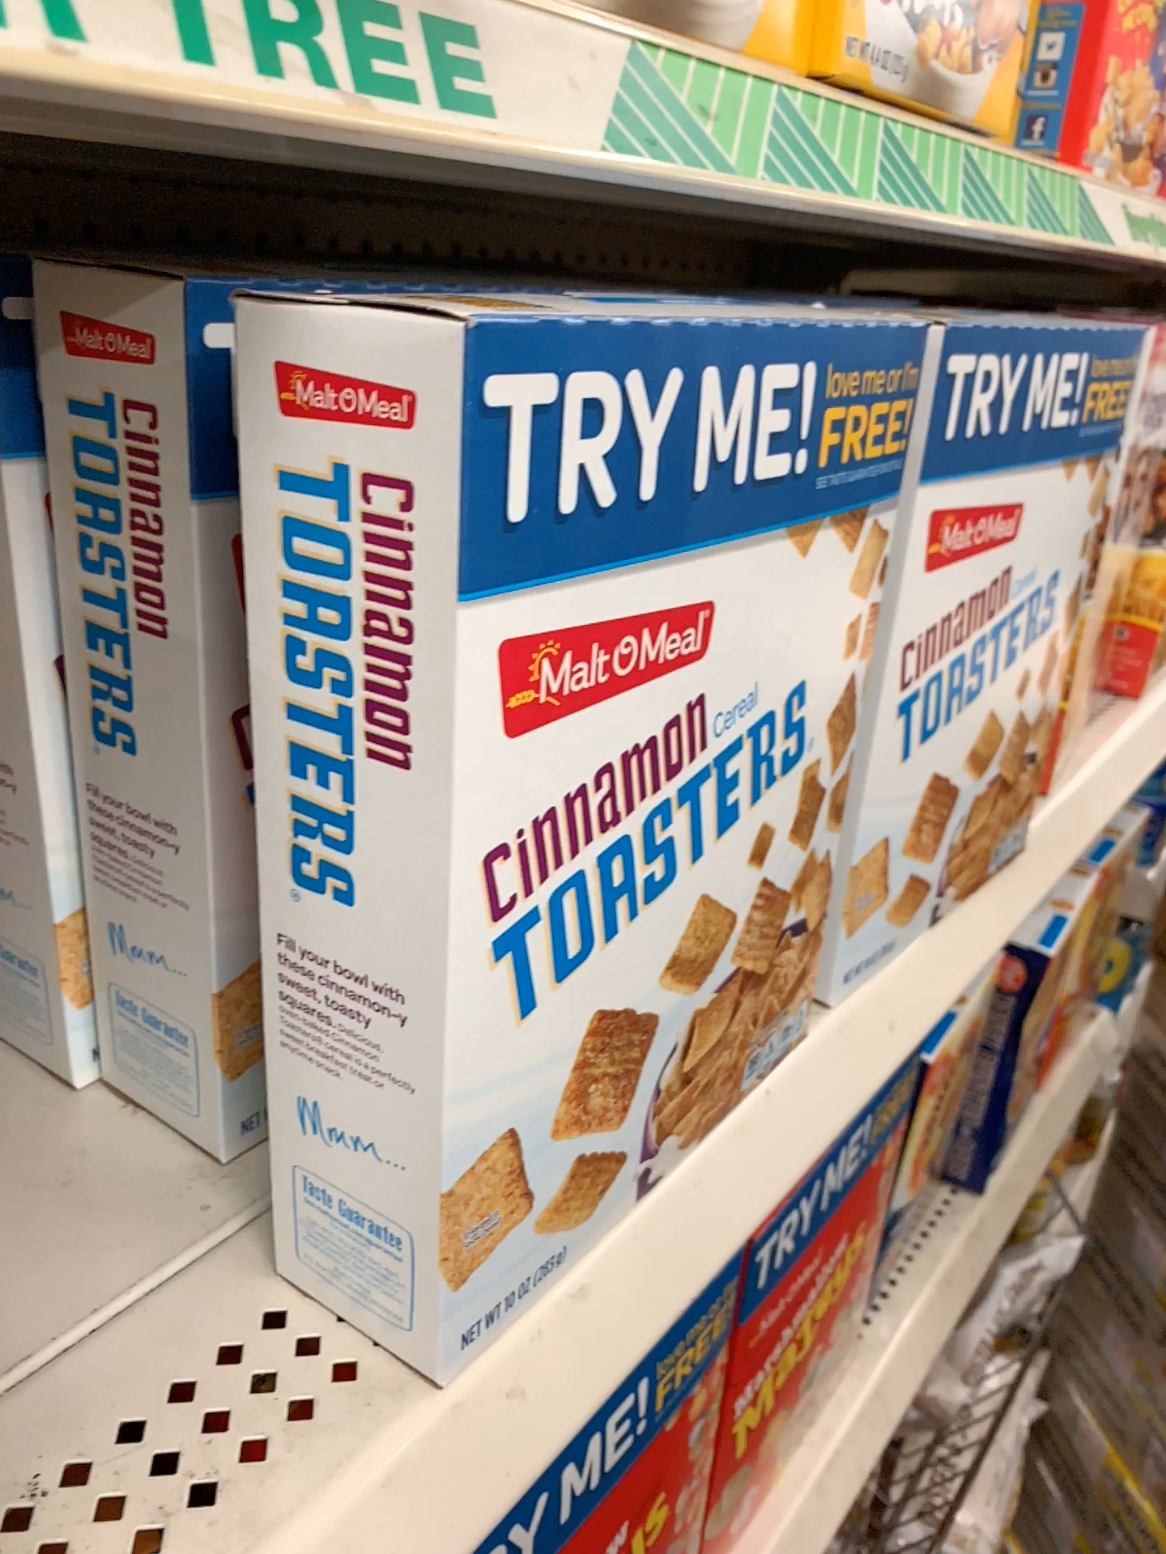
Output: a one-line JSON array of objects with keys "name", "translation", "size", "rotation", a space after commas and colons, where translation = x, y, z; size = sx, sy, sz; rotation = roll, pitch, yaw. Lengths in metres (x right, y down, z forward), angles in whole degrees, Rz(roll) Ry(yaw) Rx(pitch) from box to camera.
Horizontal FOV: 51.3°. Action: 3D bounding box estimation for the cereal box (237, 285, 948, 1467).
[{"name": "cereal box", "translation": [0.008, 0.007, 0.274], "size": [0.050, 0.209, 0.171], "rotation": [19, 26, 30]}]
